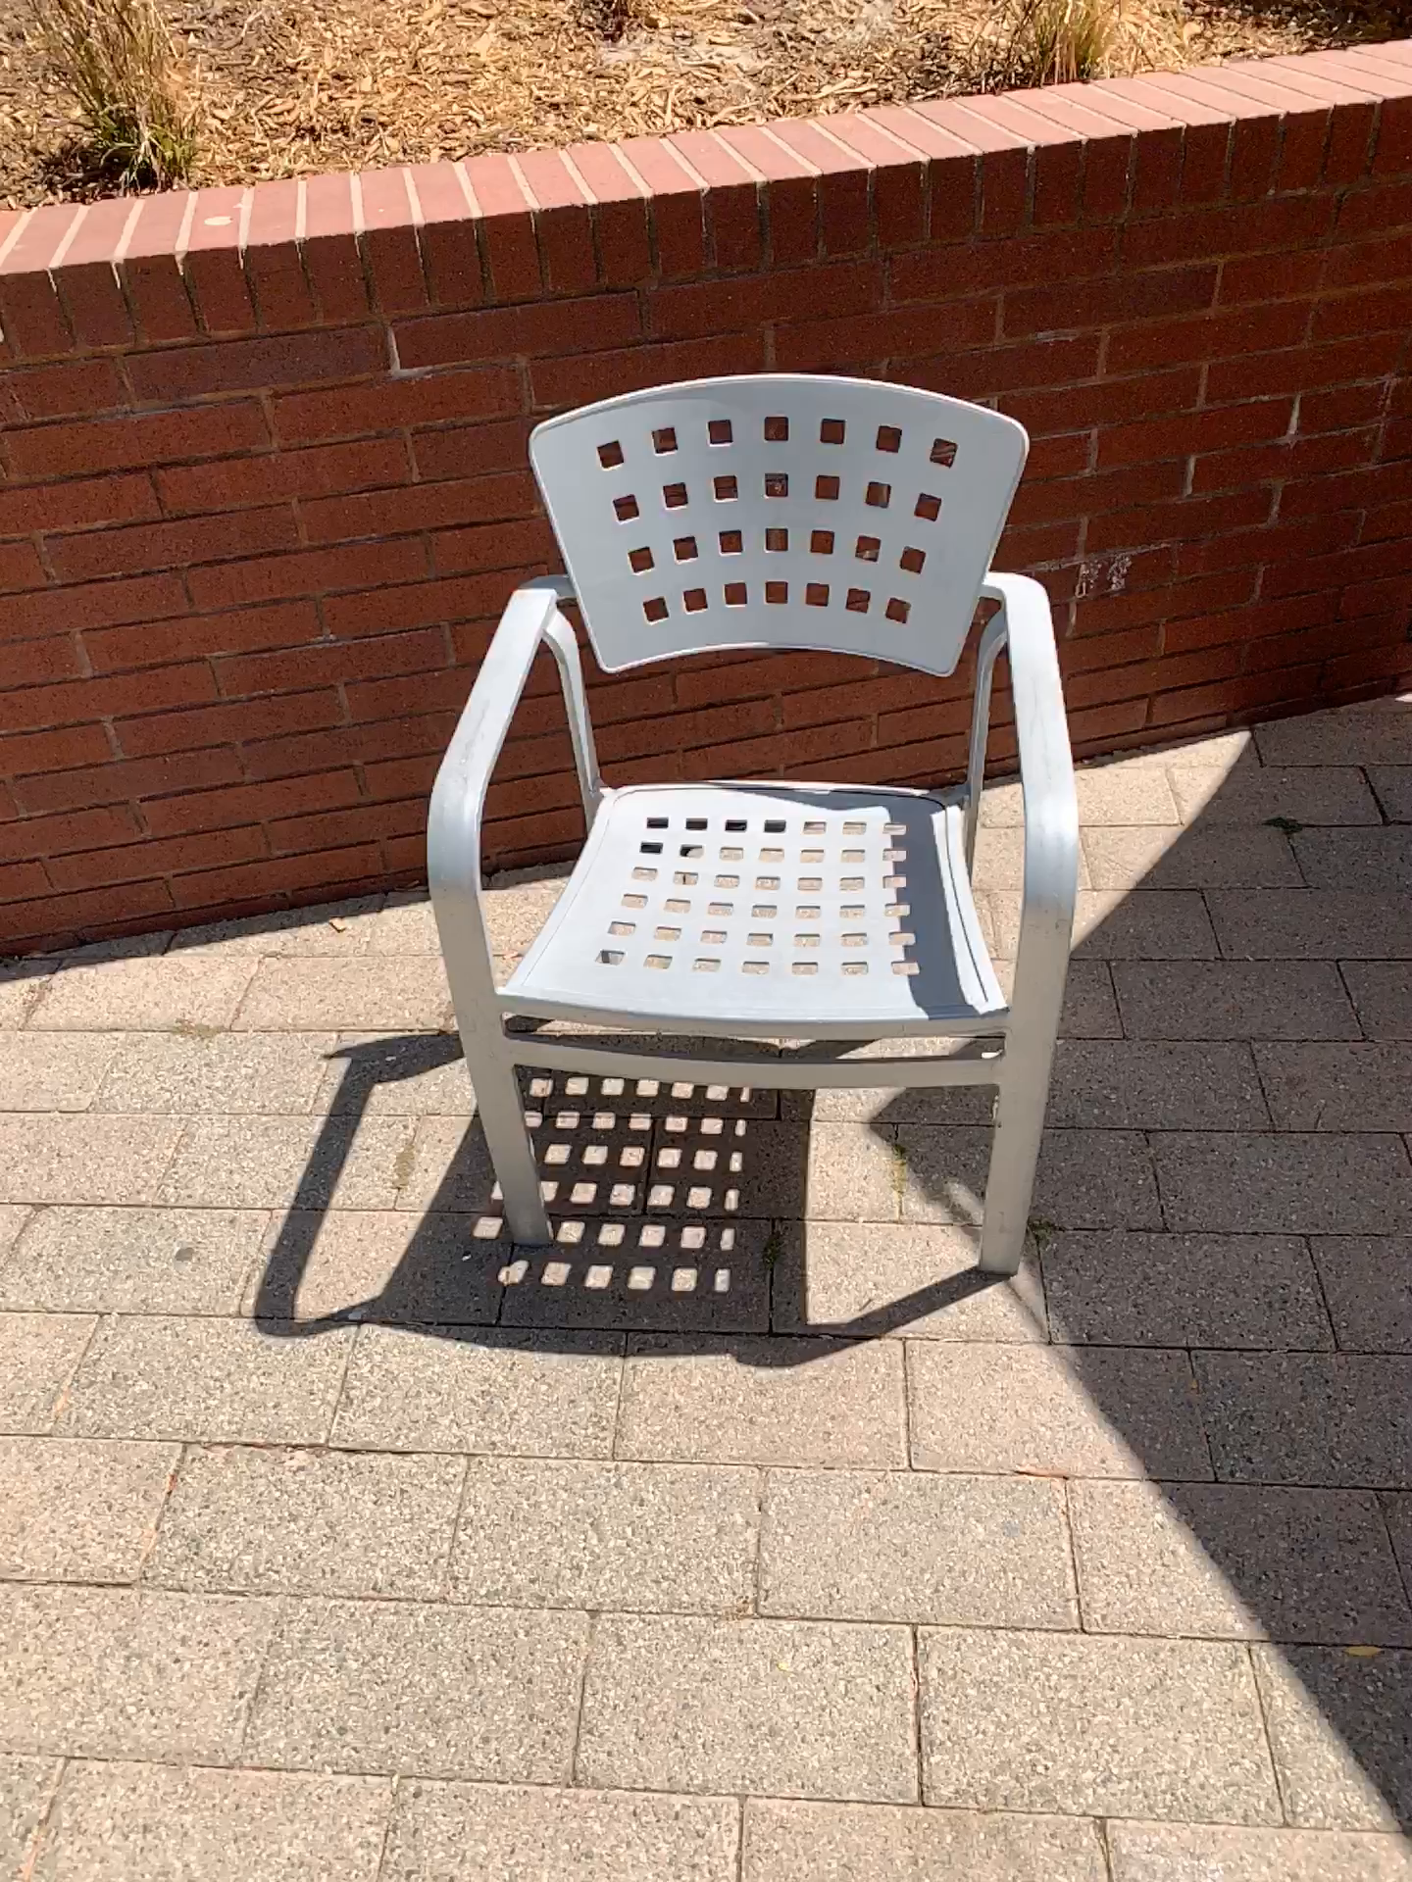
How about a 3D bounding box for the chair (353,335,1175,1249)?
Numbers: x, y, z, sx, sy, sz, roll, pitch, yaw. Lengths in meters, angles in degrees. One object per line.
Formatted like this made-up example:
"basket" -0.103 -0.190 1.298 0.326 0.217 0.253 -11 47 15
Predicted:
"chair" 0.068 -0.132 1.413 0.561 0.698 0.501 0 40 5
